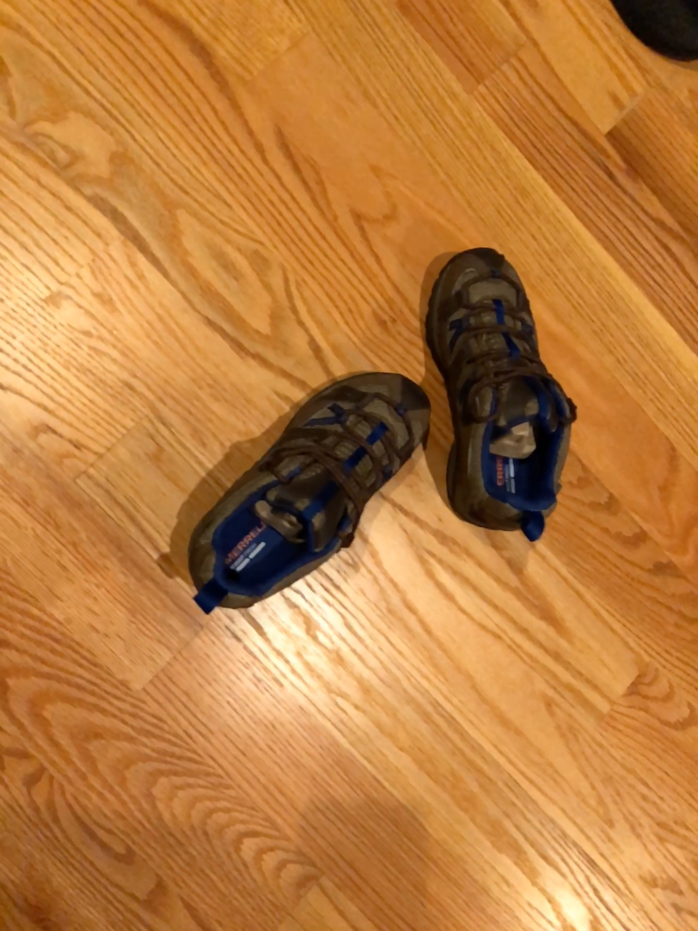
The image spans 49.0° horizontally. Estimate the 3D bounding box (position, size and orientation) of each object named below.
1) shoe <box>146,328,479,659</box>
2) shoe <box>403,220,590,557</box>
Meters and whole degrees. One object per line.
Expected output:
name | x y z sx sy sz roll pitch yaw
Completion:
shoe | -0.031 0.019 0.591 0.240 0.106 0.094 -44 96 -13
shoe | 0.115 -0.058 0.622 0.097 0.094 0.251 -4 86 -14
